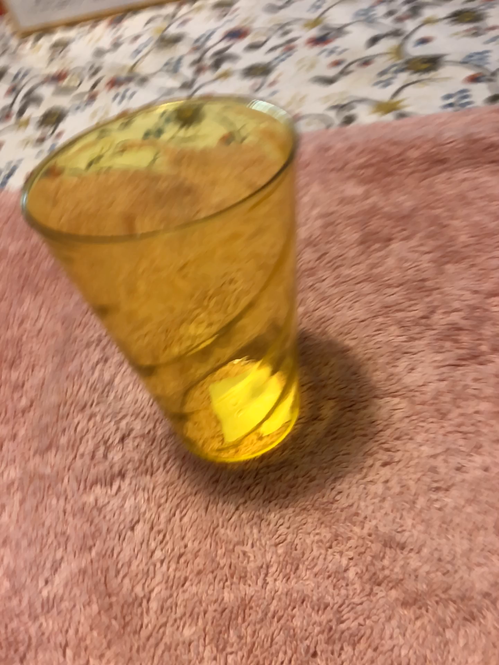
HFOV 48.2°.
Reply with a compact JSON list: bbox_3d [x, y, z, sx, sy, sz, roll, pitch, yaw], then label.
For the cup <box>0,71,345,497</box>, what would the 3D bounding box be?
[{"bbox_3d":[-0.011,-0.010,0.196,0.080,0.119,0.081,-7,47,7],"label":"cup"}]
